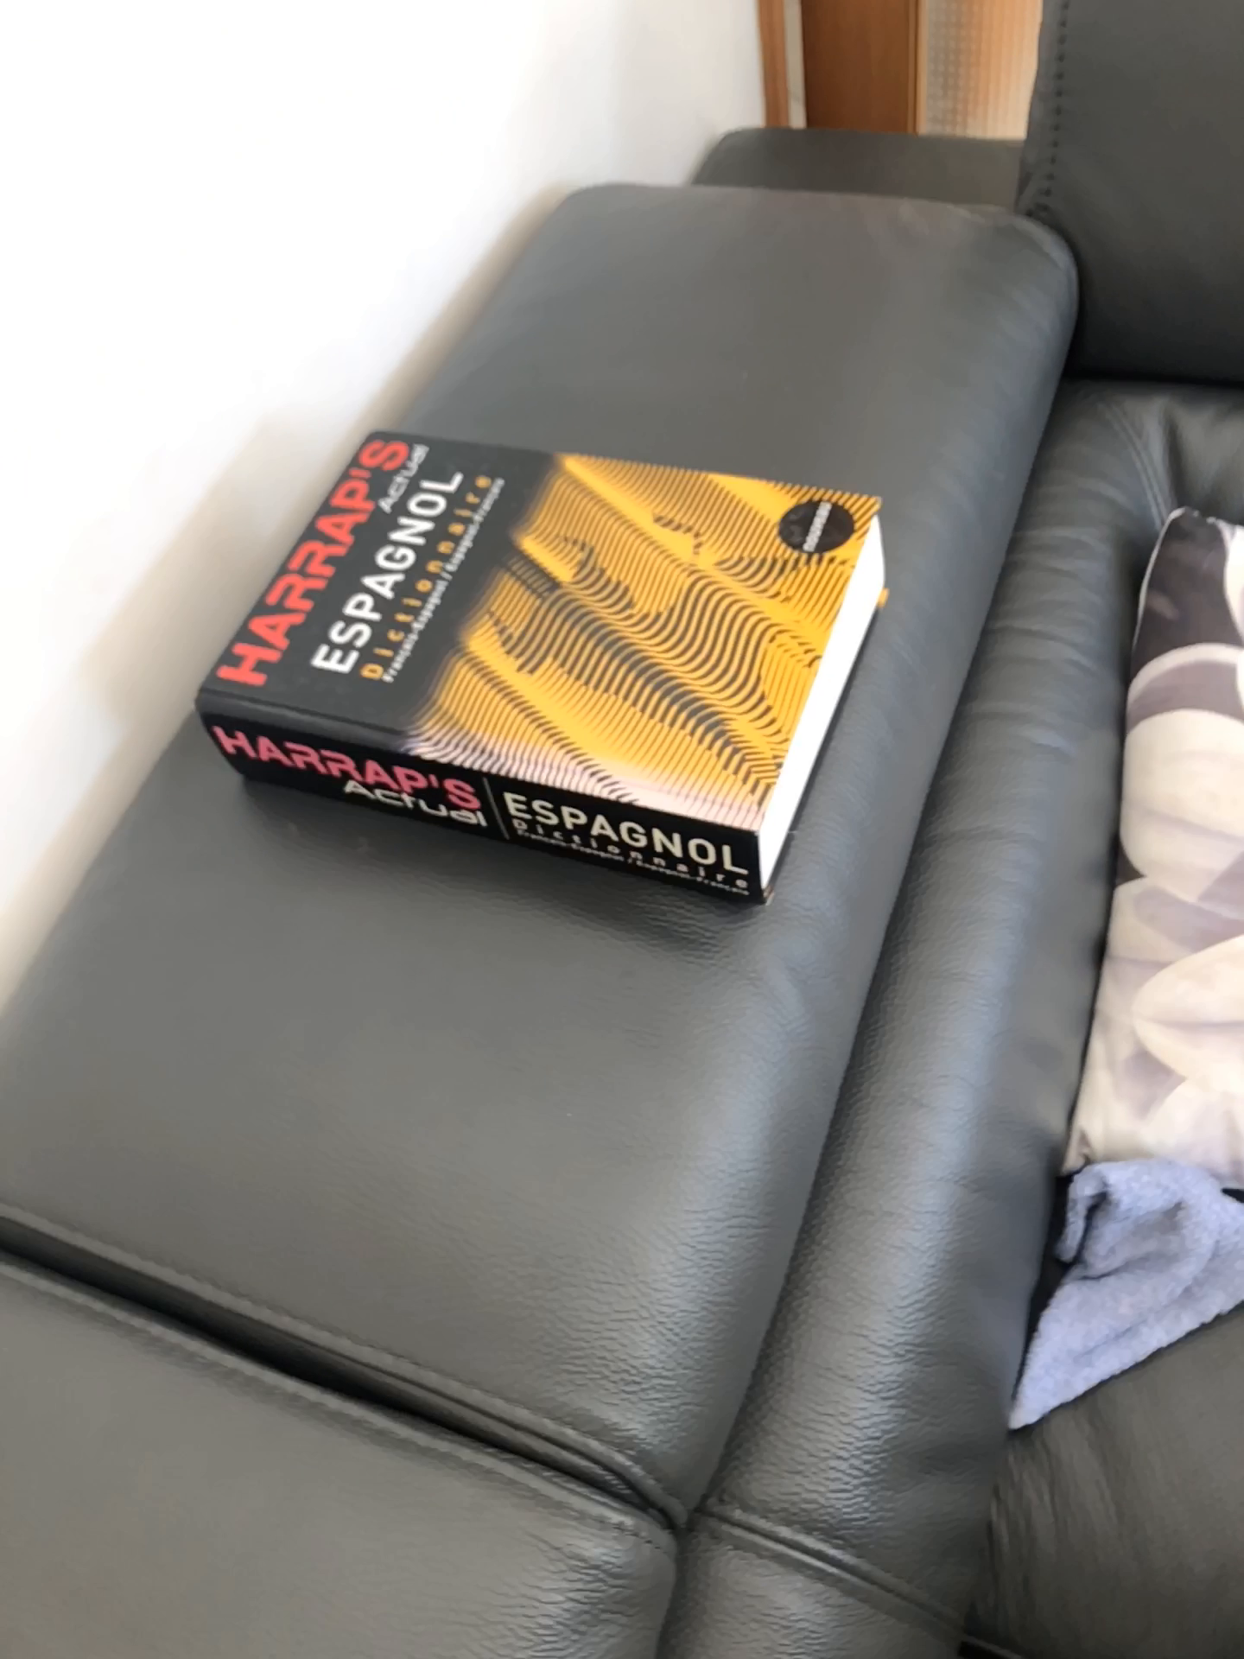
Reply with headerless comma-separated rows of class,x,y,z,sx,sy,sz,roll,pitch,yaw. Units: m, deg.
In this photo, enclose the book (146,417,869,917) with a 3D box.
book,-0.044,-0.083,0.605,0.260,0.050,0.186,14,59,17
